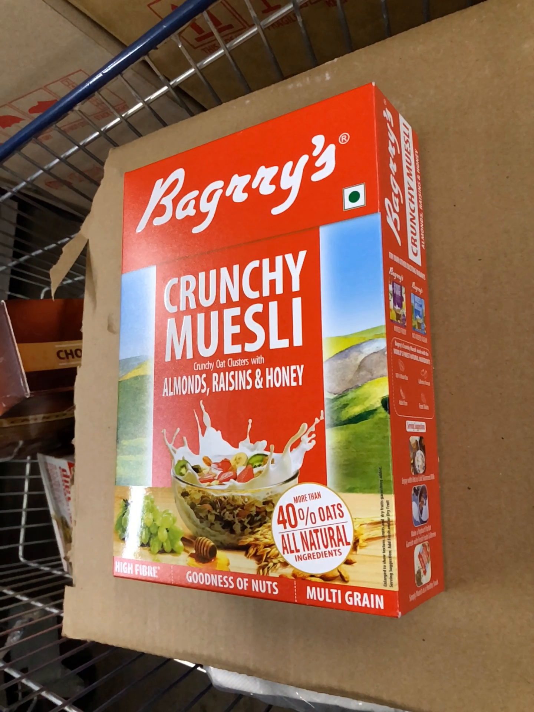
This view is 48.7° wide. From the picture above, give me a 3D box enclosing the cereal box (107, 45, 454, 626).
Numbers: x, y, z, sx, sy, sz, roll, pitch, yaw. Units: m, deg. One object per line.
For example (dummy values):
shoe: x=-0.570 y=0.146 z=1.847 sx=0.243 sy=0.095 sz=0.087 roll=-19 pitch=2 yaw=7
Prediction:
cereal box: x=-0.002 y=-0.006 z=0.339 sx=0.181 sy=0.070 sz=0.260 roll=-6 pitch=81 yaw=34
